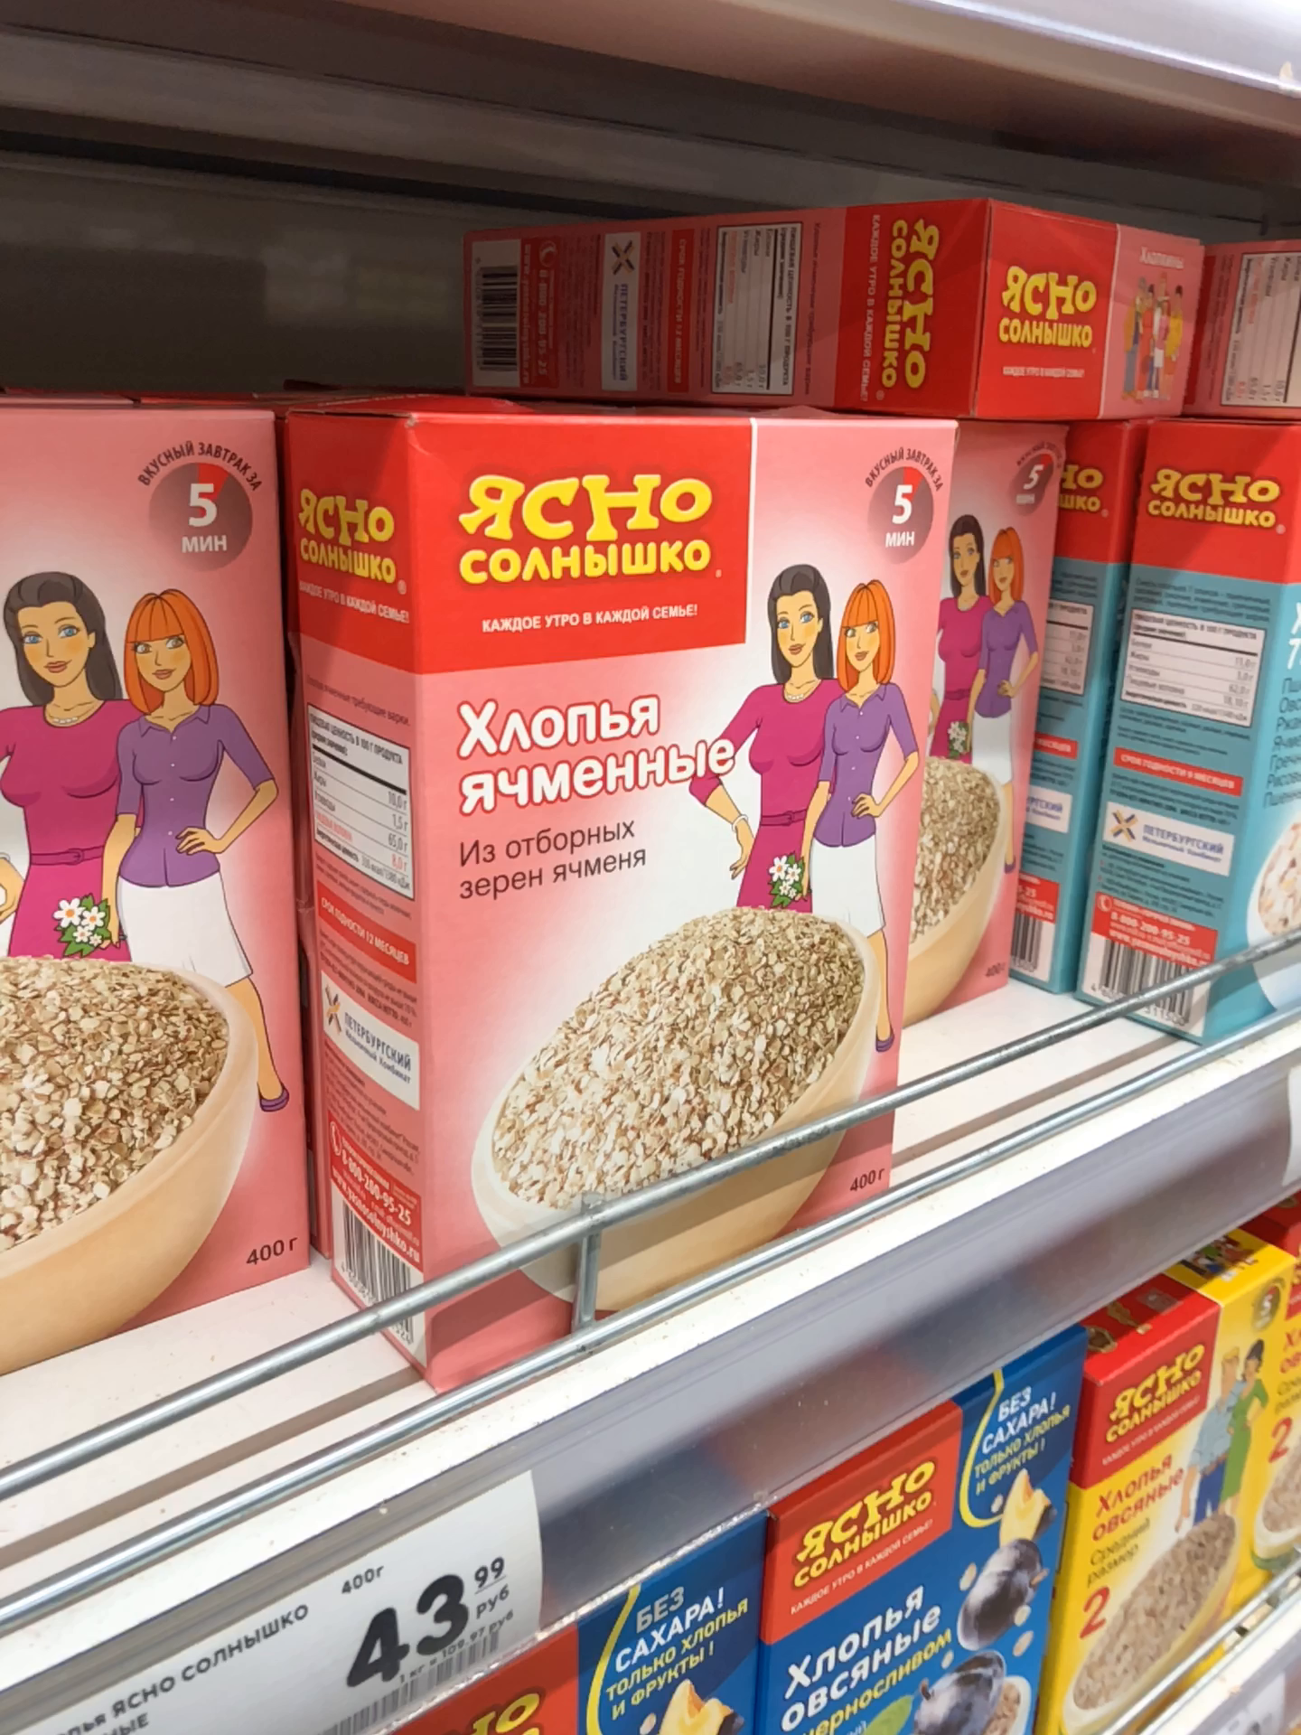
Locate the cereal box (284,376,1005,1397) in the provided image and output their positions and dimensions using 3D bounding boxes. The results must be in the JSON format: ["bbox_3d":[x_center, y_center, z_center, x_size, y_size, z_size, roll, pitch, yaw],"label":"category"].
[{"bbox_3d":[0.002,-0.005,0.313,0.140,0.189,0.050,-12,22,-35],"label":"cereal box"}]
